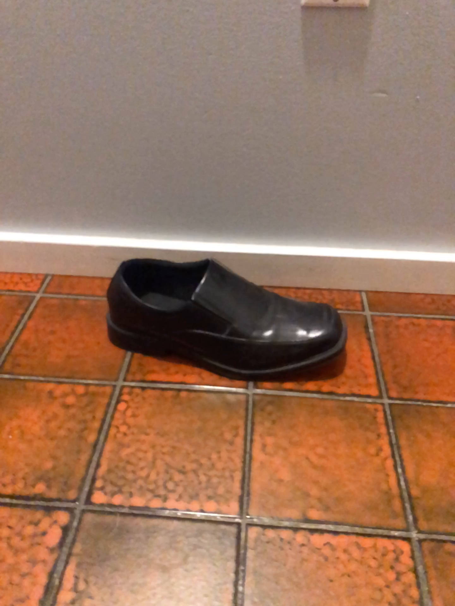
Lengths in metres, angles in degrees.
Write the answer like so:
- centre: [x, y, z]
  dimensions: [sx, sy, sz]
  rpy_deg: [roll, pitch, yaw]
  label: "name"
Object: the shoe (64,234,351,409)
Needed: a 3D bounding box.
- centre: [-0.019, 0.014, 0.600]
  dimensions: [0.300, 0.100, 0.120]
  rpy_deg: [11, 41, 12]
  label: "shoe"
